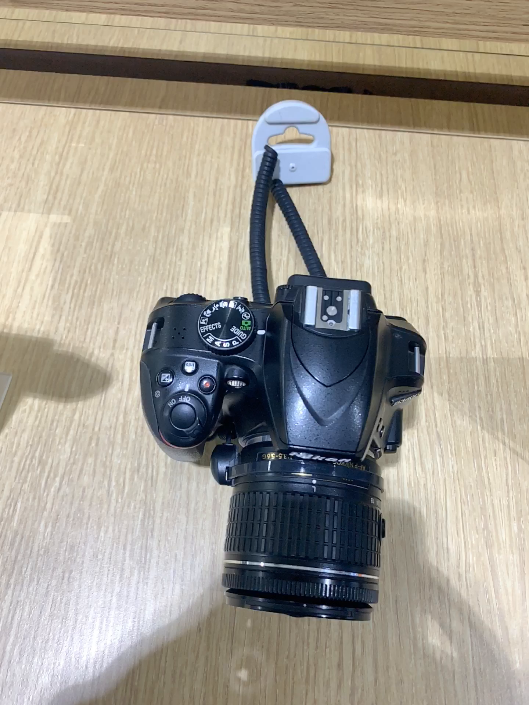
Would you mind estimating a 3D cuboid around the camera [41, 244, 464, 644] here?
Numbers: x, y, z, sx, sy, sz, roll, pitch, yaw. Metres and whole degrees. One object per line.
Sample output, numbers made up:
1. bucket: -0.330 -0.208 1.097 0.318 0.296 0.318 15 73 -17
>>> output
1. camera: -0.001 0.039 0.223 0.120 0.090 0.130 3 65 1
